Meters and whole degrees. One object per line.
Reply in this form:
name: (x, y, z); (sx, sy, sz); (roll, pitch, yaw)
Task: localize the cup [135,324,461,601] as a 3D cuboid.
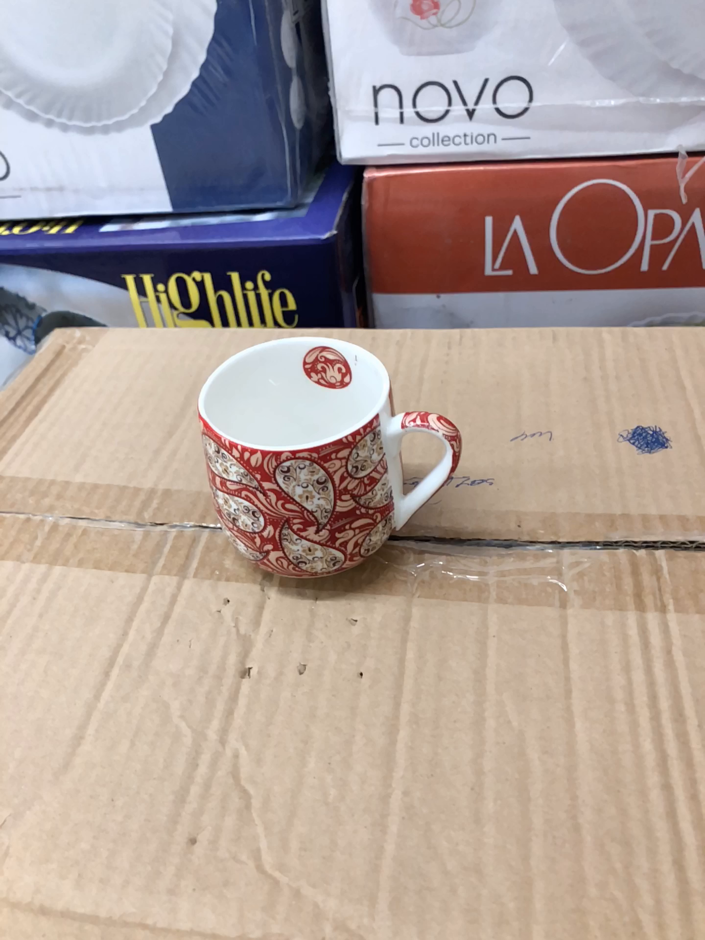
cup: (-0.011, -0.003, 0.260); (0.090, 0.060, 0.070); (-1, 37, 7)
